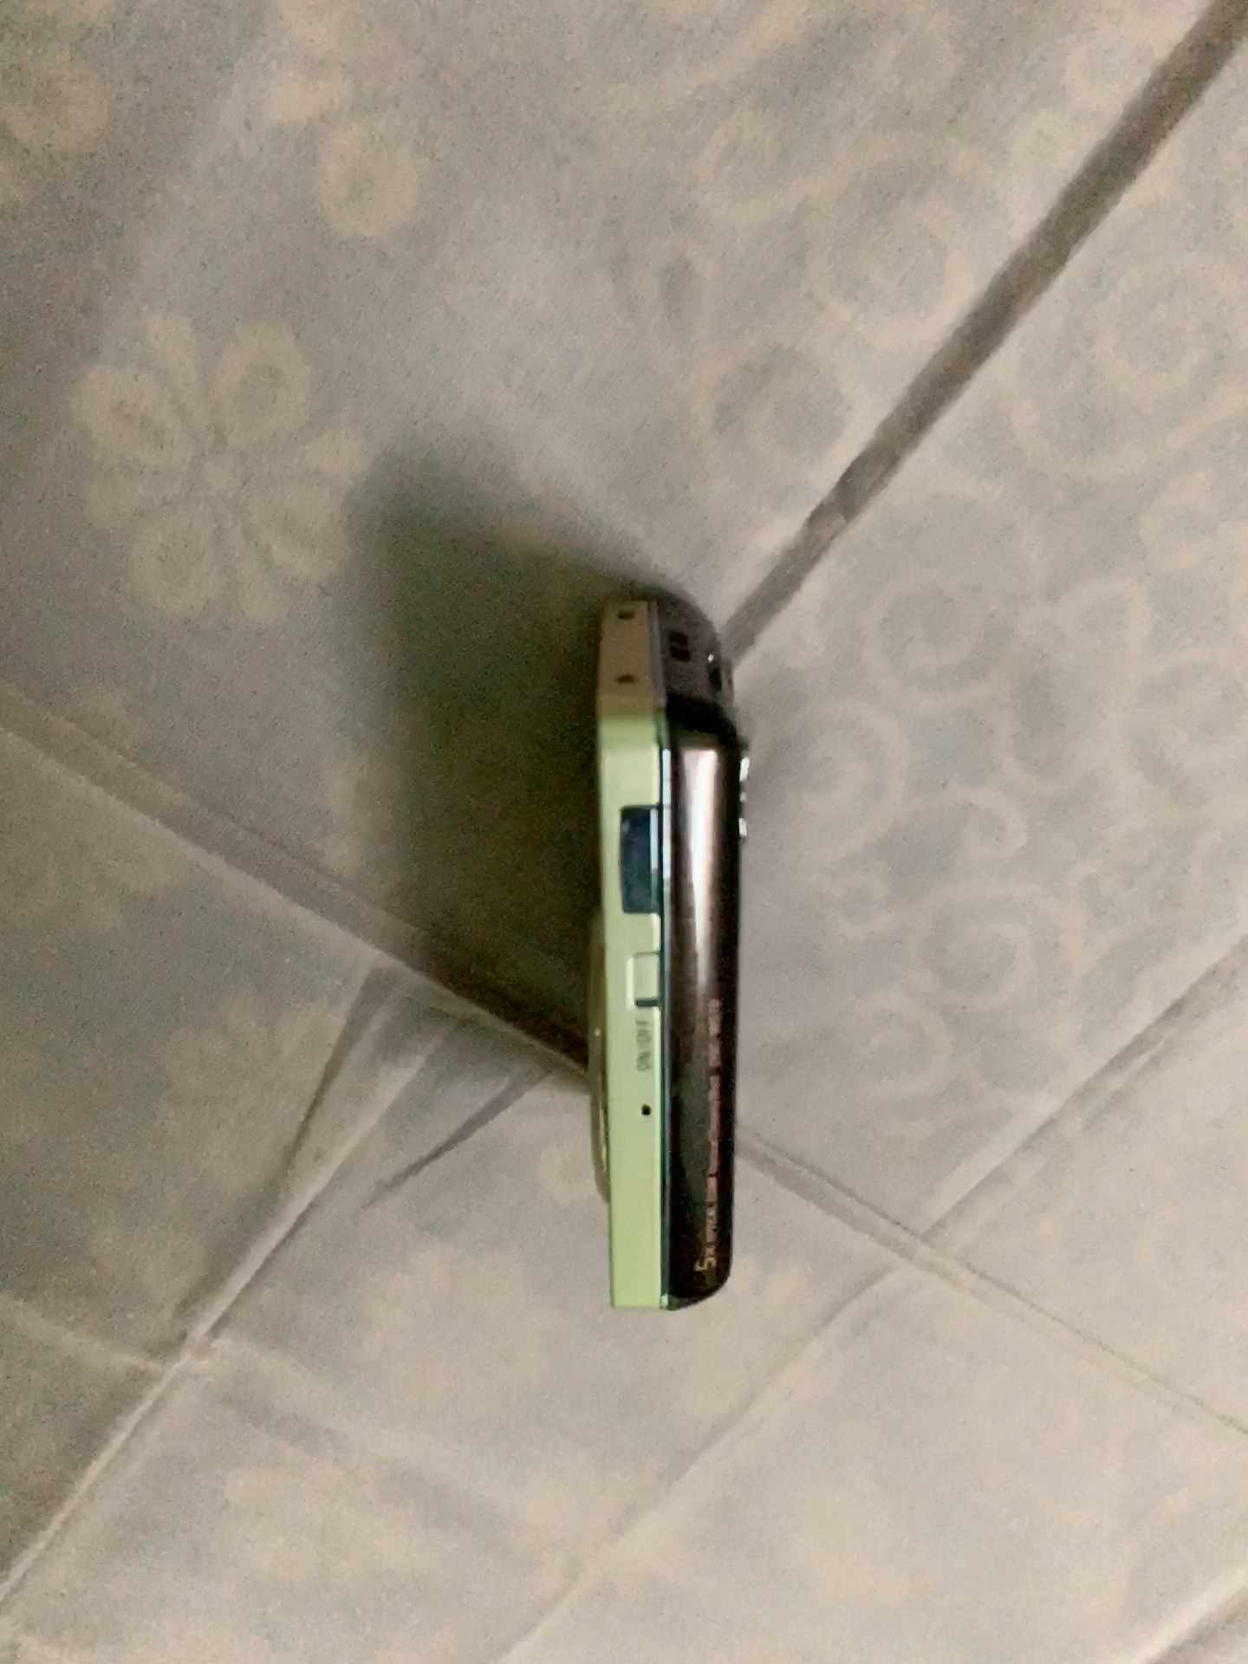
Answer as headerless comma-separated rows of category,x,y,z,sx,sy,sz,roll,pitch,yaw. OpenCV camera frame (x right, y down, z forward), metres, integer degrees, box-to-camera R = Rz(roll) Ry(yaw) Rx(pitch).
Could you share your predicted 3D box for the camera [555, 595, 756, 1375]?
camera,0.004,0.018,0.178,0.021,0.060,0.089,-2,114,-1
